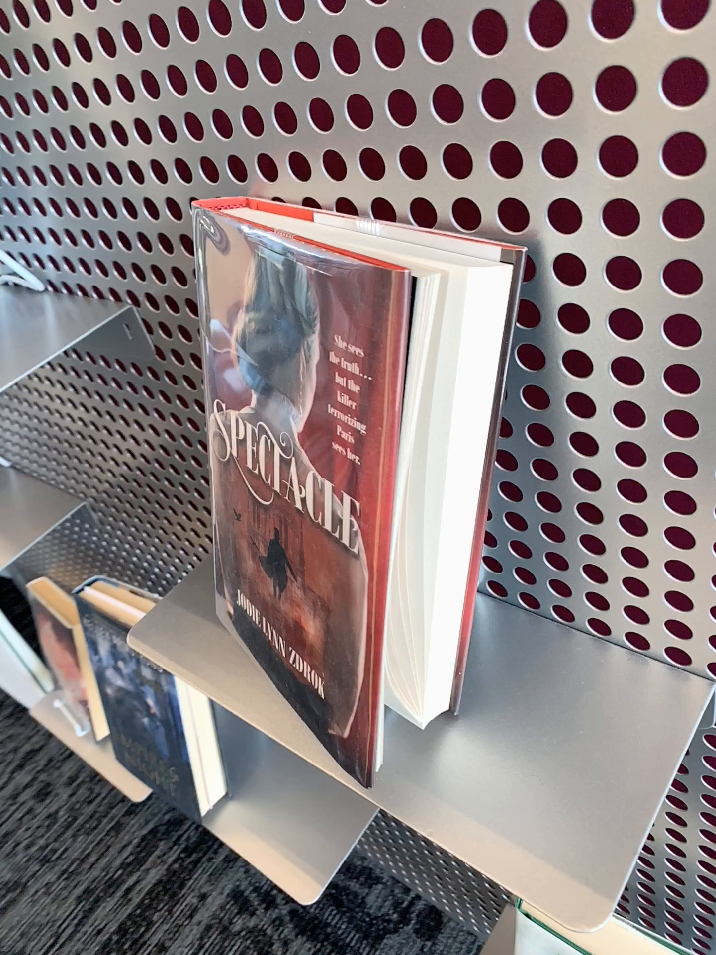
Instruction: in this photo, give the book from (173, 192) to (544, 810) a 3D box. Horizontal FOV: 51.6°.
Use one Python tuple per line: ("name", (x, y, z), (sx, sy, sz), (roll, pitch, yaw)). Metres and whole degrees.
("book", (-0.013, 0.000, 0.317), (0.059, 0.211, 0.154), (-16, 31, -30))
